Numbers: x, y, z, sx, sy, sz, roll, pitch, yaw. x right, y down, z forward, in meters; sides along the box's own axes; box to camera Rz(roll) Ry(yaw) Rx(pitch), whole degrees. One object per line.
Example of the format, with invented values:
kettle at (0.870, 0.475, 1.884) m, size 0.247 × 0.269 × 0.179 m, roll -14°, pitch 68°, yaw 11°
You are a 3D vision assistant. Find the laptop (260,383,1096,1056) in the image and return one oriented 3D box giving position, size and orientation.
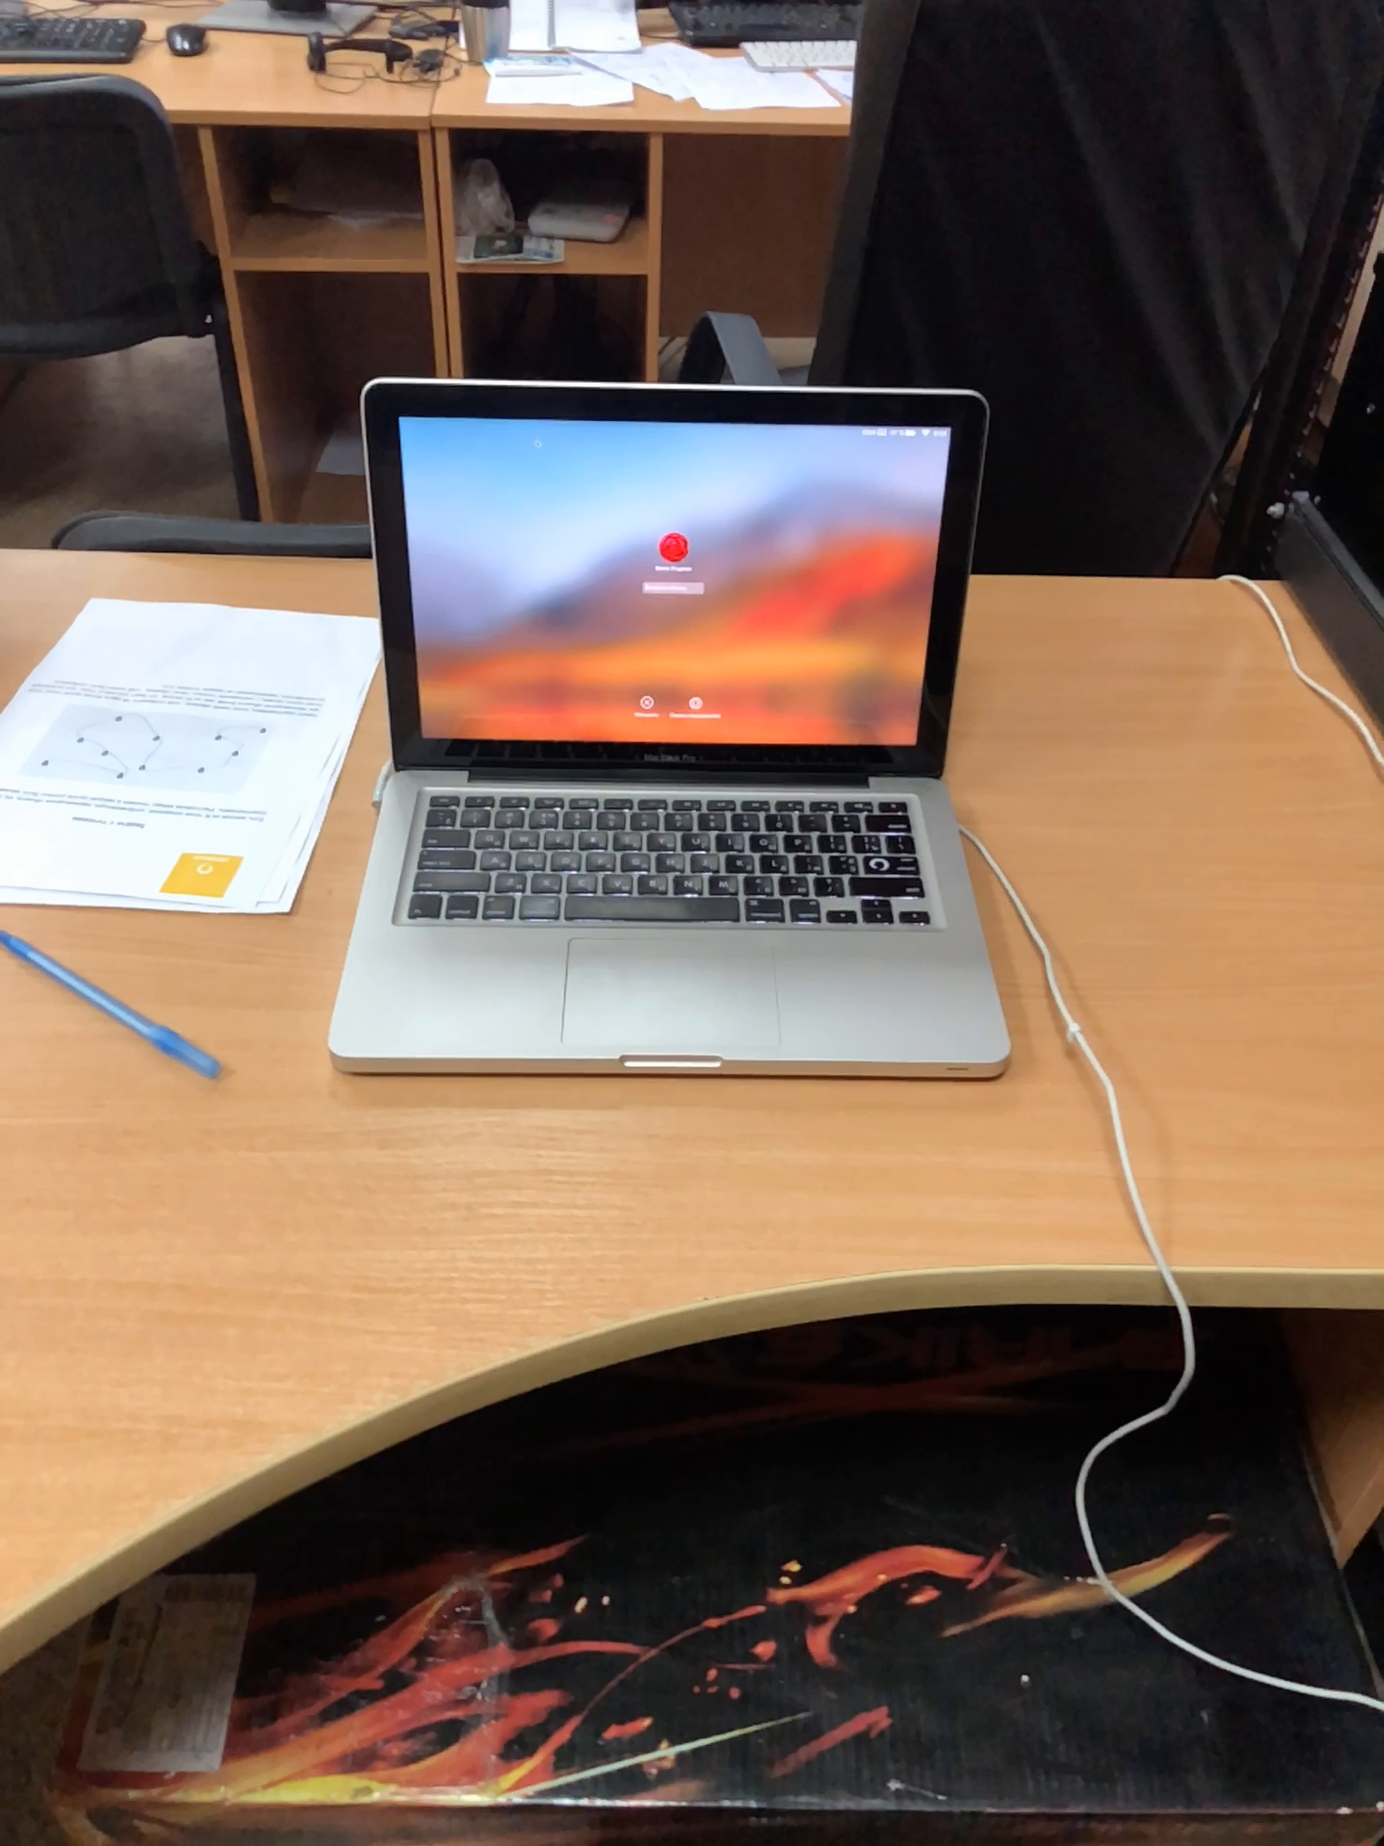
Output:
laptop at (-0.010, -0.105, 0.739) m, size 0.315 × 0.207 × 0.267 m, roll 0°, pitch 41°, yaw -3°
